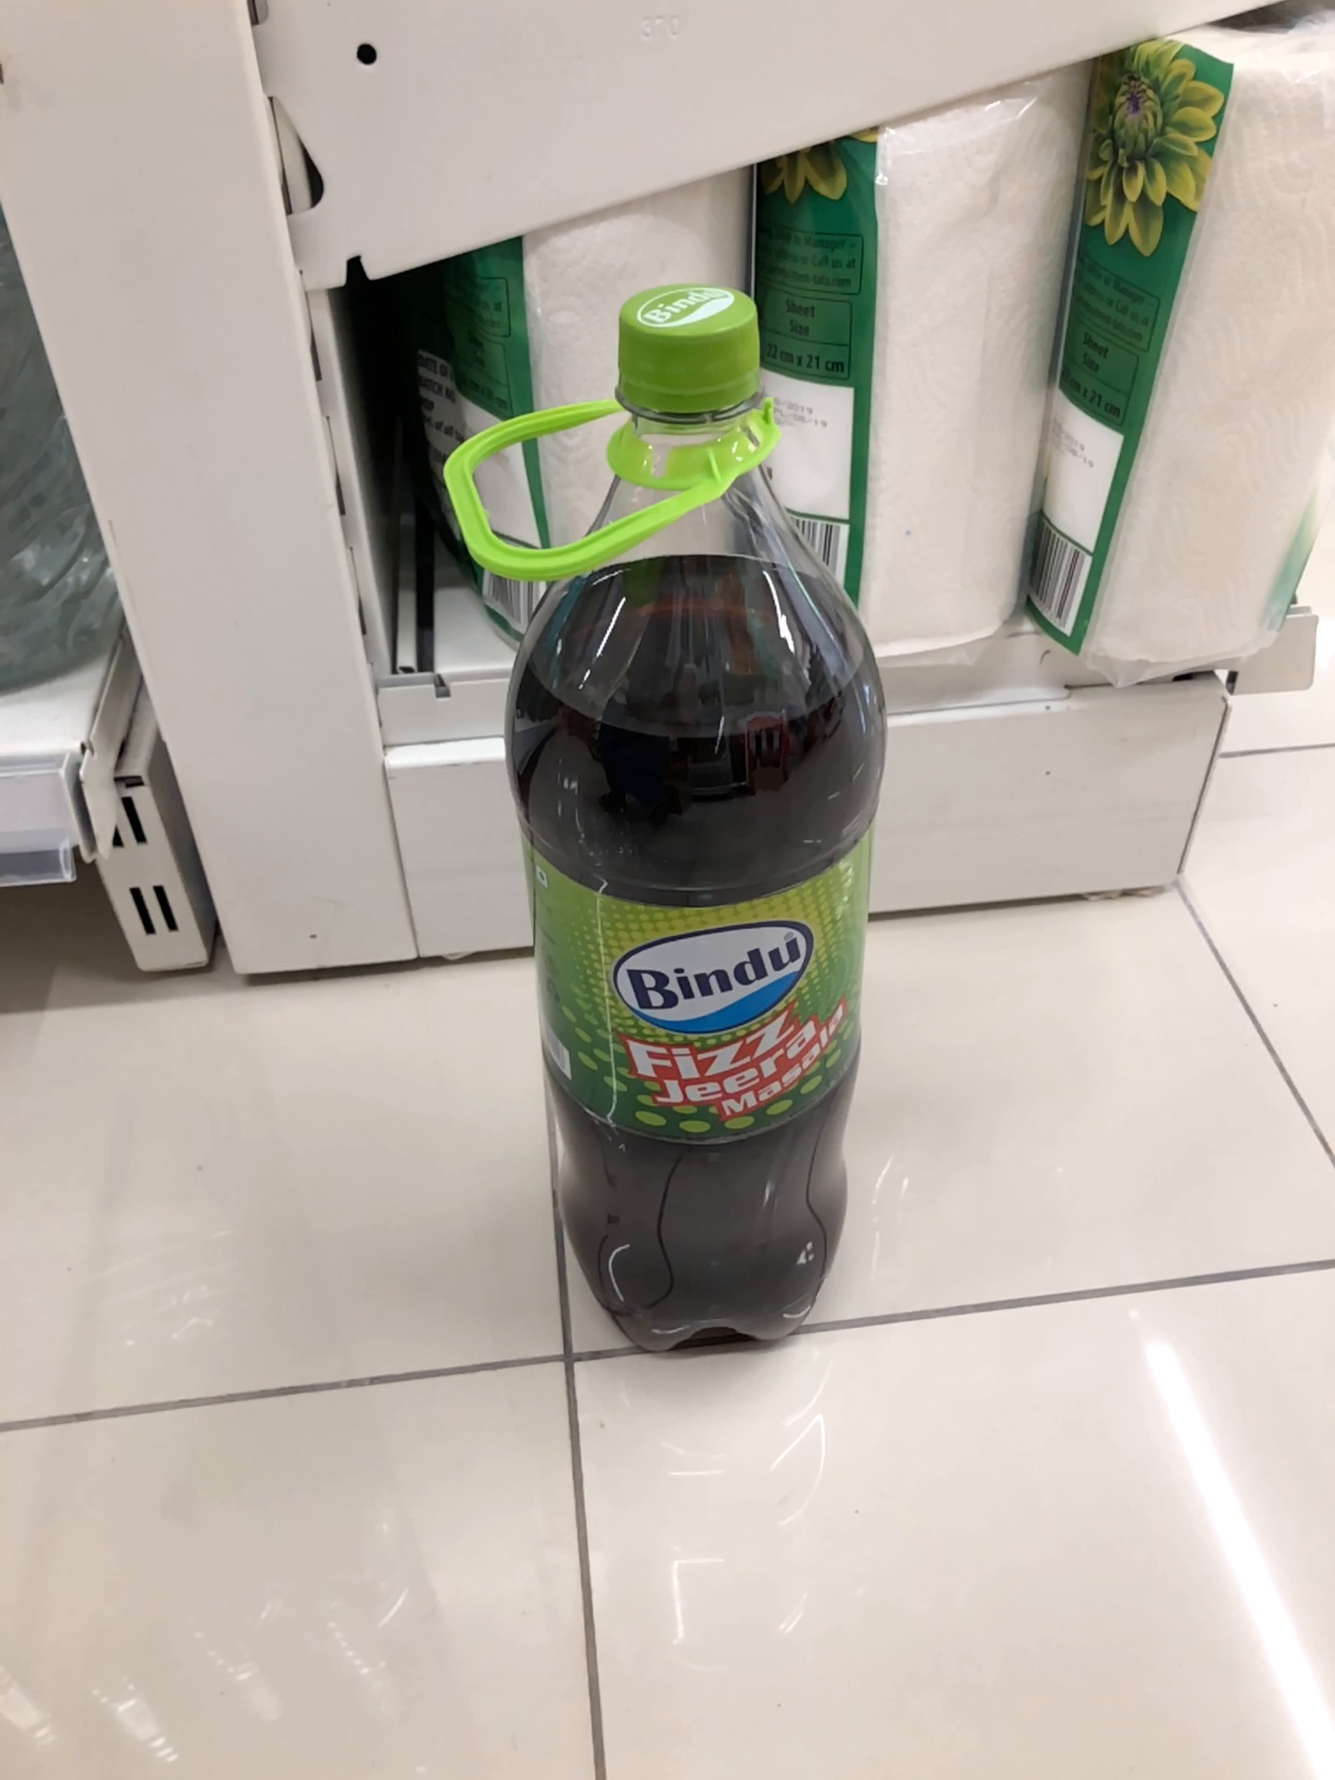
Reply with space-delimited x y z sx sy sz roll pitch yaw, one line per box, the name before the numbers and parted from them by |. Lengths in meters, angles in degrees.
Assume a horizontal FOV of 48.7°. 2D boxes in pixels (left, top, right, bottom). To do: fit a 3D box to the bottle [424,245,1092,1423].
bottle | 0.014 0.007 0.386 0.110 0.298 0.101 -1 41 1
